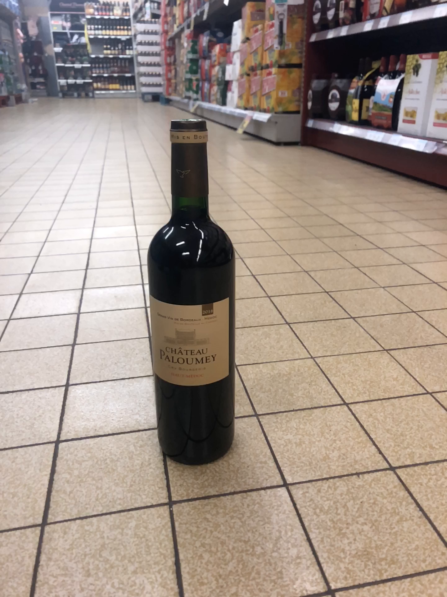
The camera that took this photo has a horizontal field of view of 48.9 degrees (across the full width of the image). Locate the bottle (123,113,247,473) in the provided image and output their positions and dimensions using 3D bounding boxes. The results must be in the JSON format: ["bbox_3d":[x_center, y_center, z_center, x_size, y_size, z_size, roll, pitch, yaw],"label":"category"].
[{"bbox_3d":[-0.023,-0.001,0.415,0.080,0.289,0.090,1,22,3],"label":"bottle"}]
